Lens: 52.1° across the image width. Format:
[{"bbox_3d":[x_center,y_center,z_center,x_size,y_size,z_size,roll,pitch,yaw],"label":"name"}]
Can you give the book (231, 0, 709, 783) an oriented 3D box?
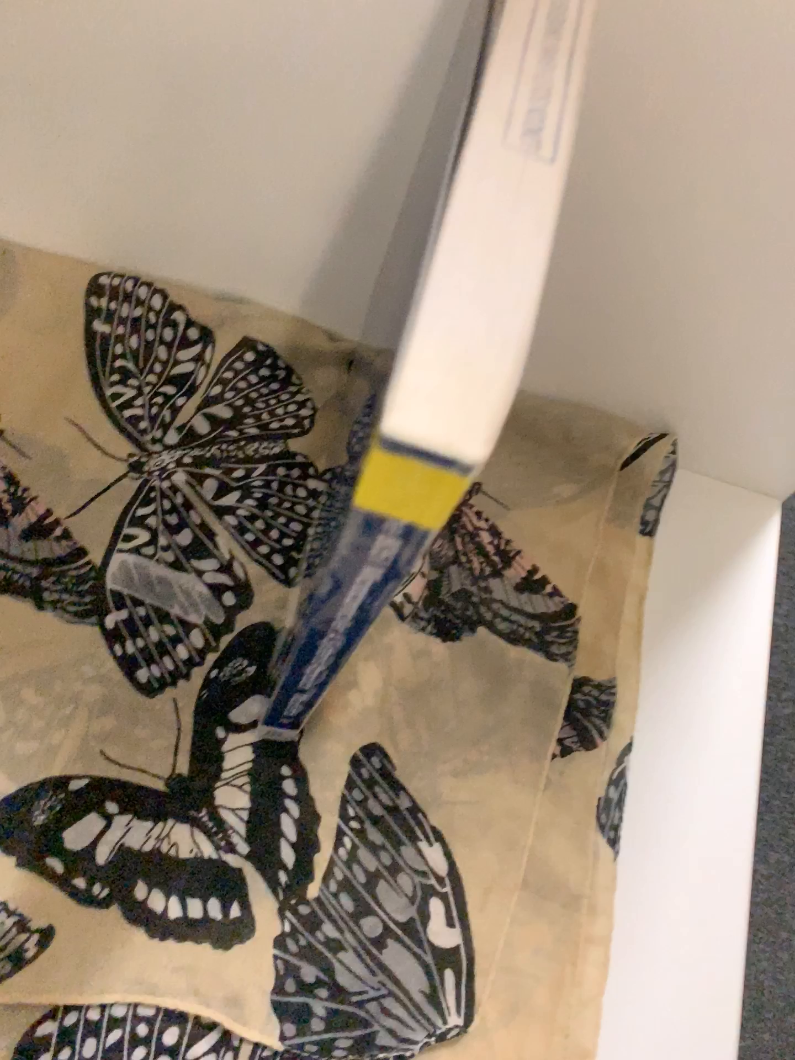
[{"bbox_3d":[0.008,-0.046,0.278,0.052,0.249,0.221,17,63,-7],"label":"book"}]
